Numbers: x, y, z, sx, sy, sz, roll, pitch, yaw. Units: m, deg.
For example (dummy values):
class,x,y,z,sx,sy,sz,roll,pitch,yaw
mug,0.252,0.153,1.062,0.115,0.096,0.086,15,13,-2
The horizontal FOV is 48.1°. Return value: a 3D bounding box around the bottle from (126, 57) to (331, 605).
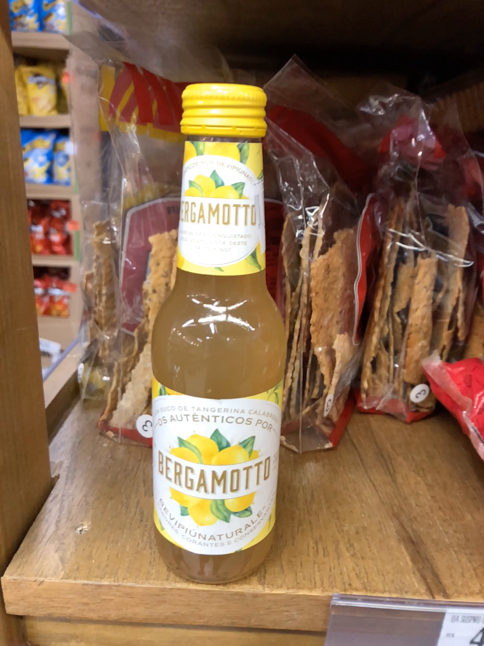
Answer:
class,x,y,z,sx,sy,sz,roll,pitch,yaw
bottle,-0.010,0.009,0.217,0.060,0.199,0.060,3,18,-1
